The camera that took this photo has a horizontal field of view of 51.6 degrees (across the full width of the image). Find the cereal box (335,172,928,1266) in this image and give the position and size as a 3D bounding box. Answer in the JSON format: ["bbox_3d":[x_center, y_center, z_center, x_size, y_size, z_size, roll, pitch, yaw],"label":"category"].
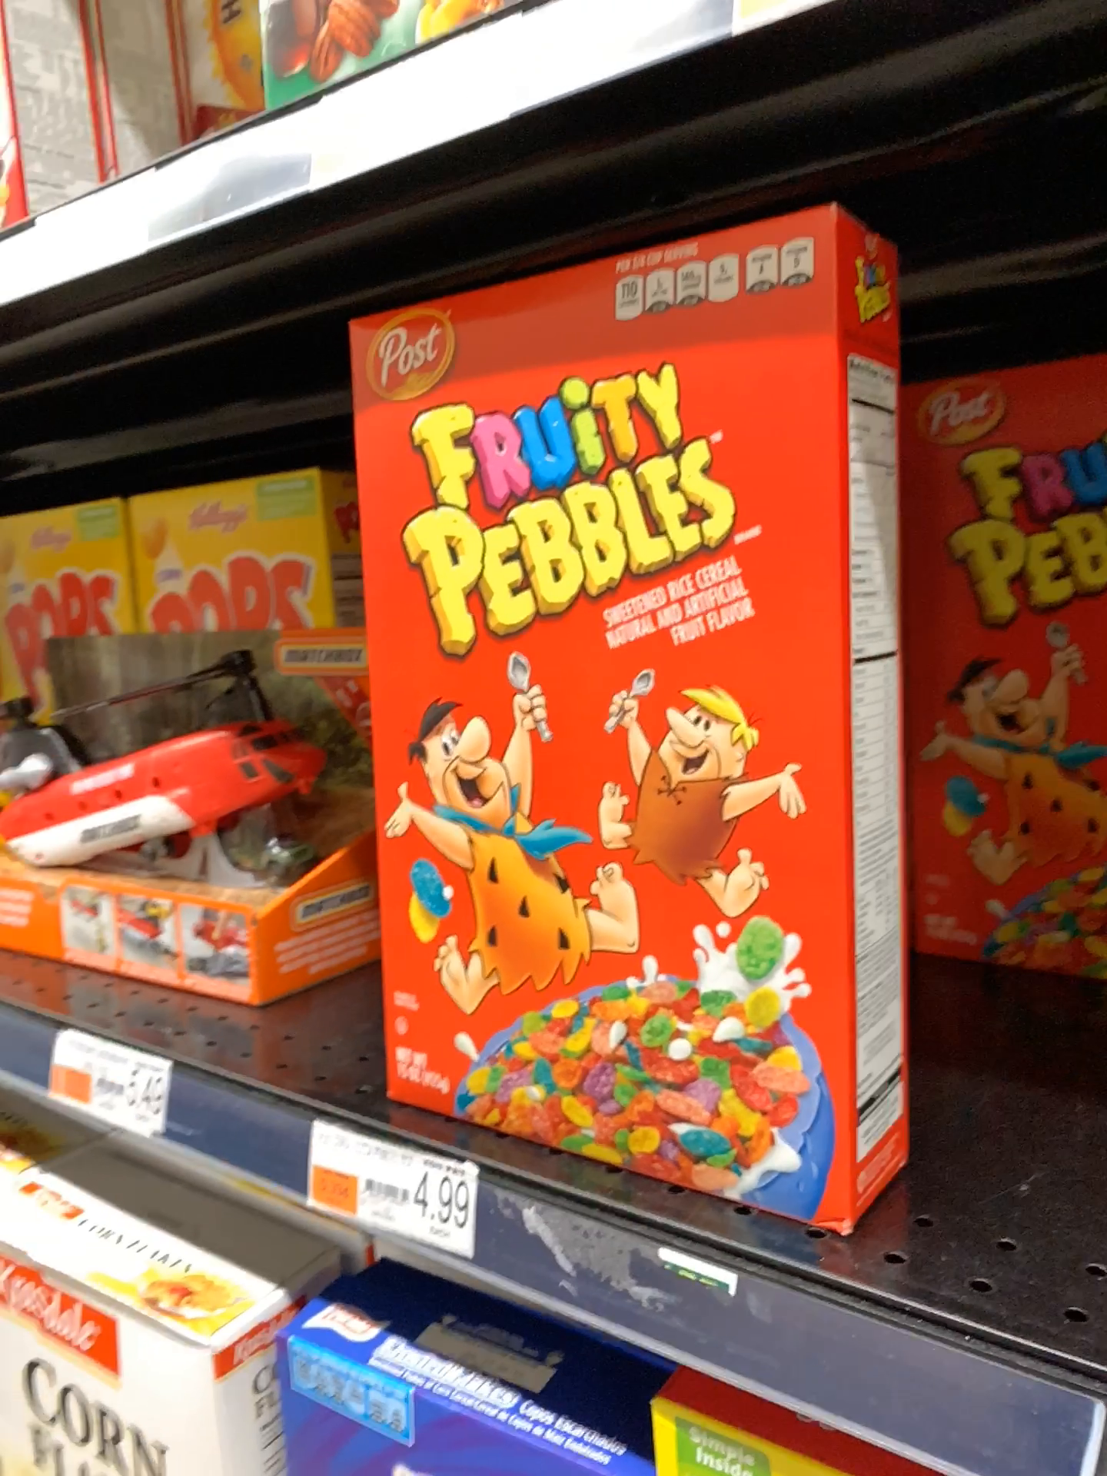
[{"bbox_3d":[0.022,-0.005,0.407,0.200,0.310,0.060,2,7,37],"label":"cereal box"}]
